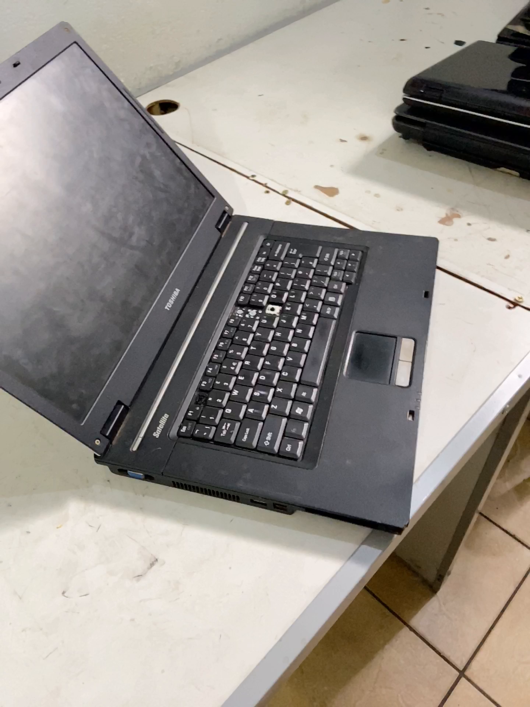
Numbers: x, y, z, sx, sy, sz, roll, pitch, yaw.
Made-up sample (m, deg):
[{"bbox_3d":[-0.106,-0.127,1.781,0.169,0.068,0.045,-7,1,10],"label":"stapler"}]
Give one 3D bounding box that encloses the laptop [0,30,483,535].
[{"bbox_3d":[-0.047,-0.100,0.482,0.402,0.212,0.357,10,51,14],"label":"laptop"}]
